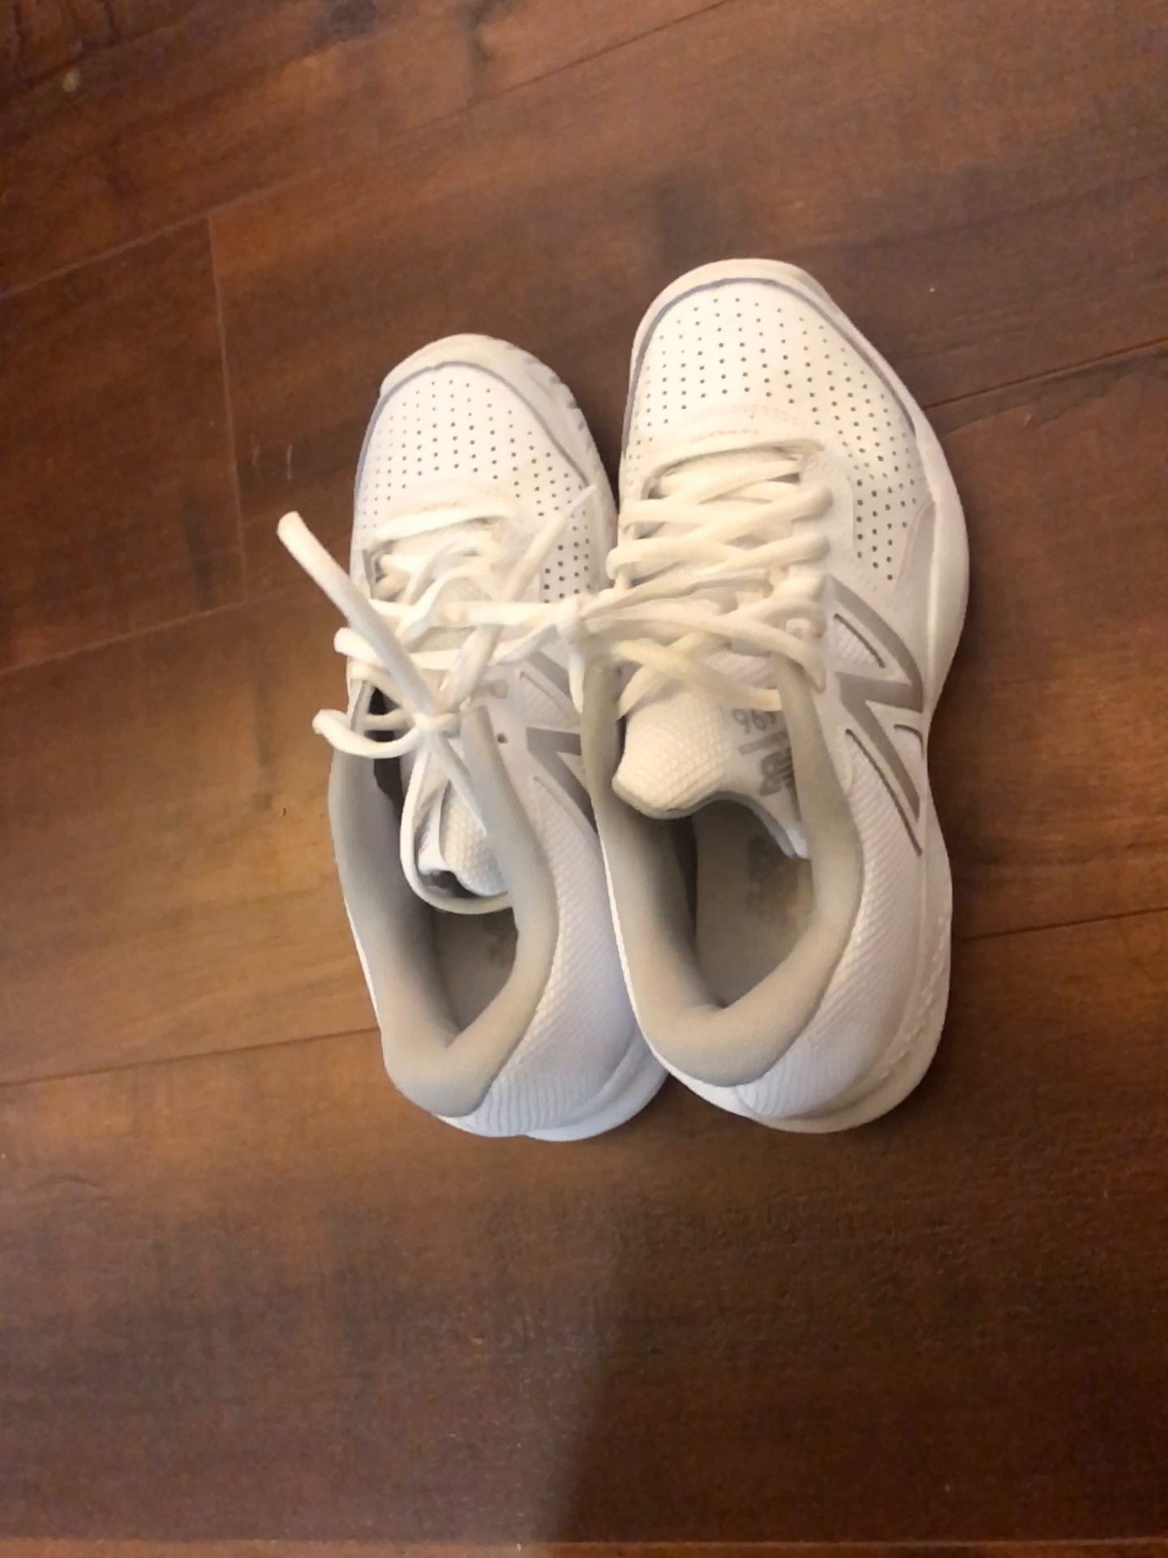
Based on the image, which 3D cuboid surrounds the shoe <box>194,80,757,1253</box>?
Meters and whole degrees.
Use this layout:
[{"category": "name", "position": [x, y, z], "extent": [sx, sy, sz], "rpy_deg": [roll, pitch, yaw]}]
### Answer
[{"category": "shoe", "position": [-0.031, -0.028, 0.411], "extent": [0.100, 0.130, 0.310], "rpy_deg": [-11, 80, 19]}]

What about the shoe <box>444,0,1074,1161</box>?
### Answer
[{"category": "shoe", "position": [0.061, -0.058, 0.394], "extent": [0.120, 0.169, 0.310], "rpy_deg": [-8, 80, 23]}]
